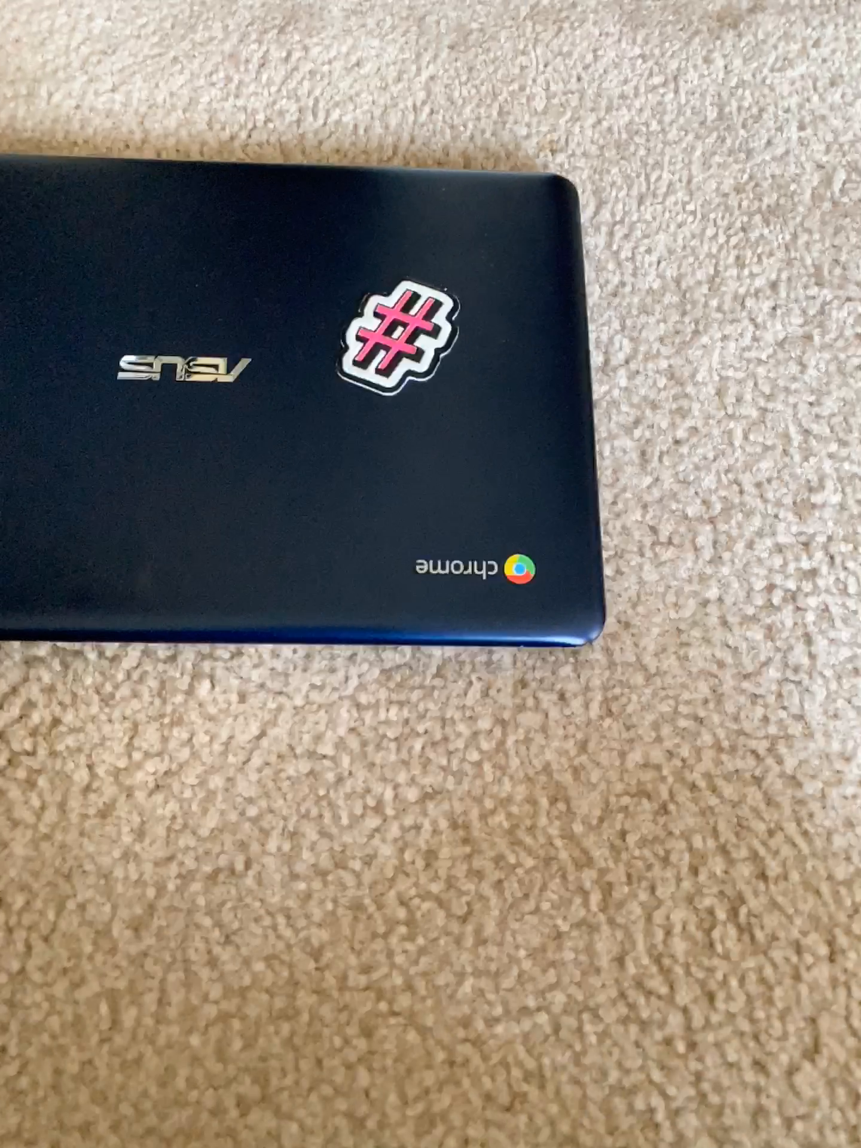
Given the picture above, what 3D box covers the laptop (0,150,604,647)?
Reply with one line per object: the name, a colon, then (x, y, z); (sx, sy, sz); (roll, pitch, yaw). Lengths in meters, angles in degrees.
laptop: (-0.081, -0.066, 0.307); (0.271, 0.006, 0.181); (1, 71, -3)
